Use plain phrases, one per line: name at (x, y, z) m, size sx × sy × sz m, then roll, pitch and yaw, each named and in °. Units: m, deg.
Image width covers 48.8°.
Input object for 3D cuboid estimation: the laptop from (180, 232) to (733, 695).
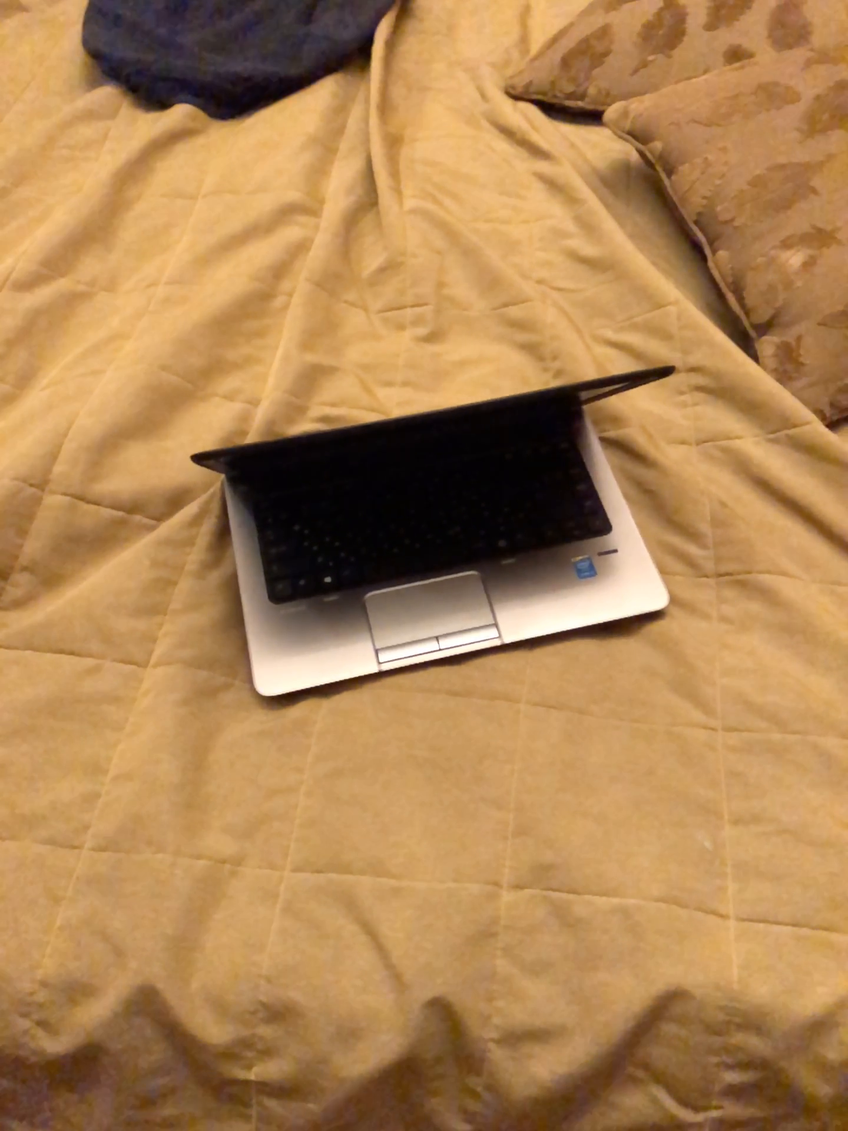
laptop at (0.010, -0.080, 0.713) m, size 0.331 × 0.189 × 0.226 m, roll -12°, pitch 57°, yaw -8°
